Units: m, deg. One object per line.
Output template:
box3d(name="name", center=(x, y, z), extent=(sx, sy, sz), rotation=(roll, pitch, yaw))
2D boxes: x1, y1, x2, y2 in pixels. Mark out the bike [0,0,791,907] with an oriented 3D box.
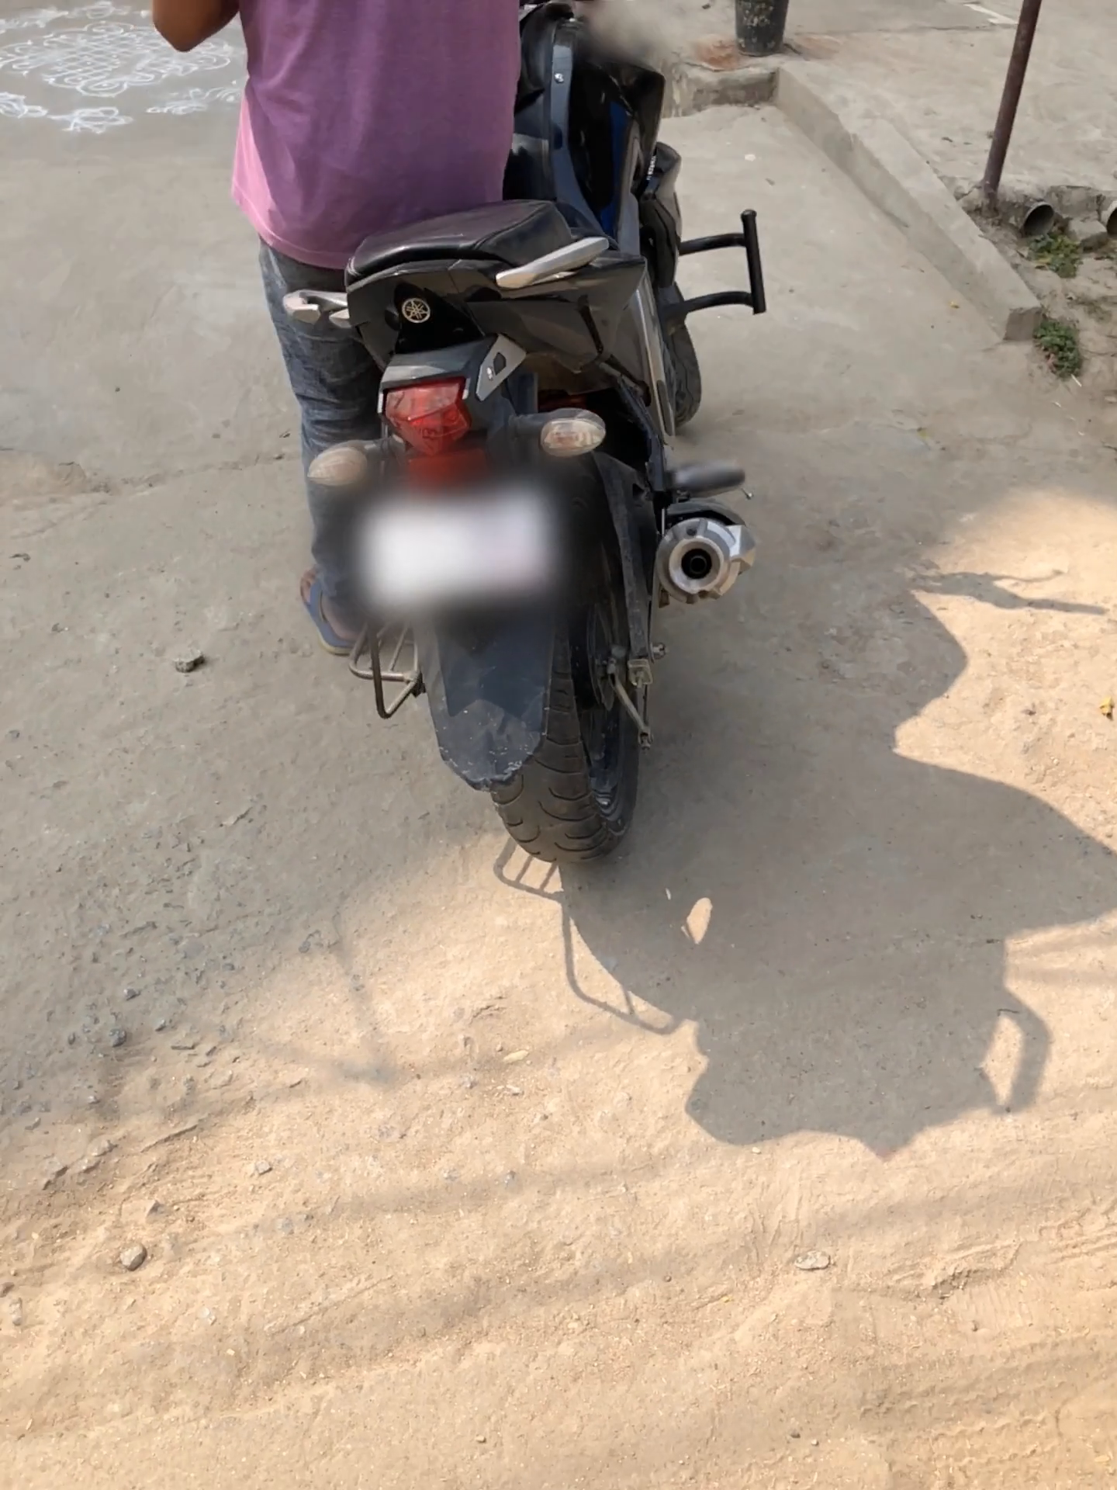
box3d(name="bike", center=(-0.206, -0.760, 1.886), extent=(0.683, 0.959, 1.697), rotation=(0, 44, -2))
